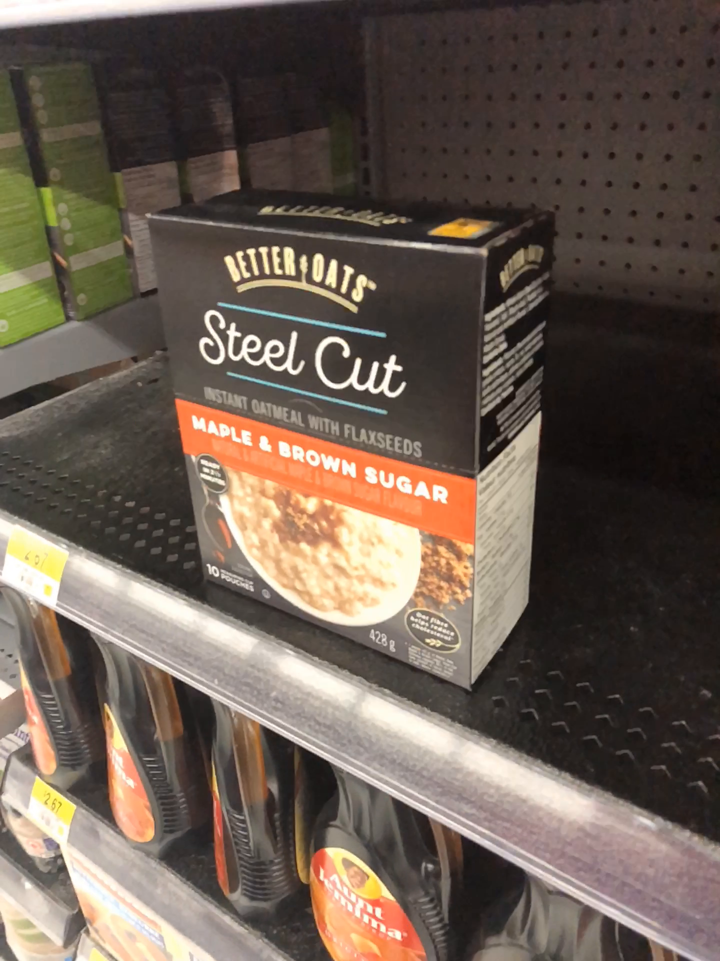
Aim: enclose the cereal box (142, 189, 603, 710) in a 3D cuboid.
[{"bbox_3d":[0.005,-0.021,0.340,0.160,0.179,0.070,16,34,30],"label":"cereal box"}]
